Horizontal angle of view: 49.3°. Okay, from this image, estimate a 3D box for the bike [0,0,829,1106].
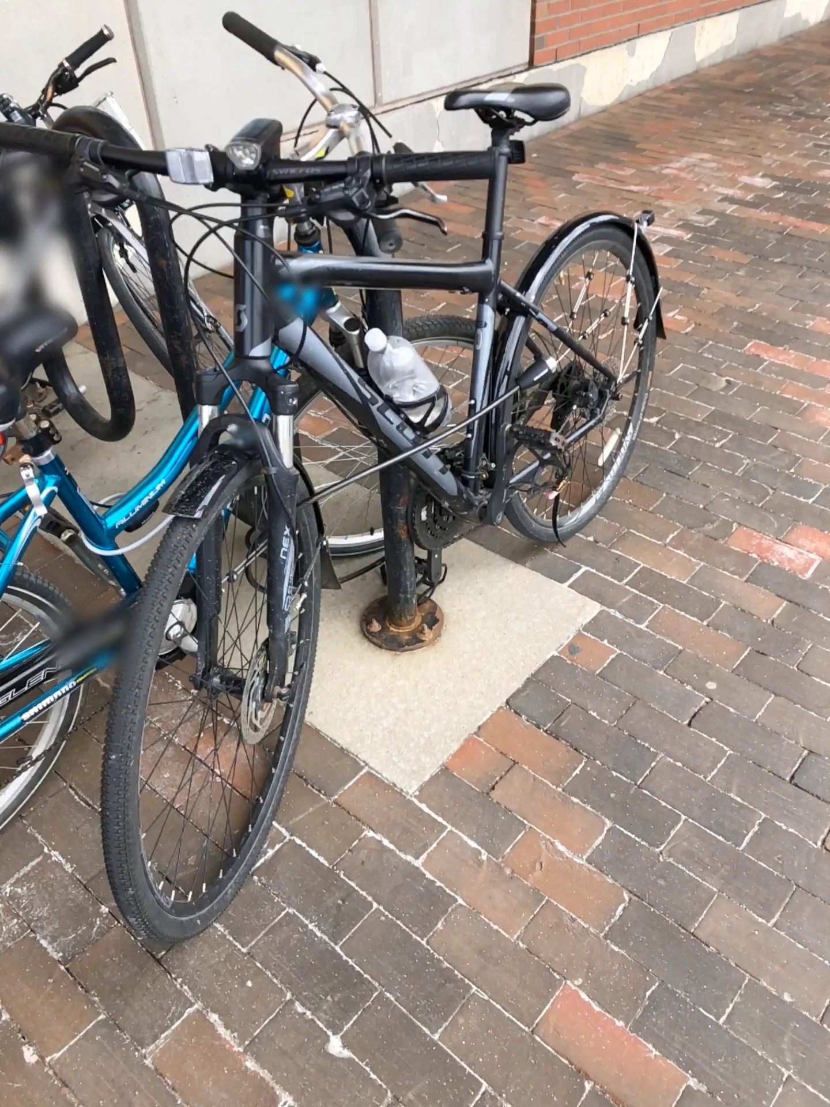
[{"bbox_3d":[0.002,-0.177,1.412,0.672,0.939,1.519,21,46,26],"label":"bike"}]
